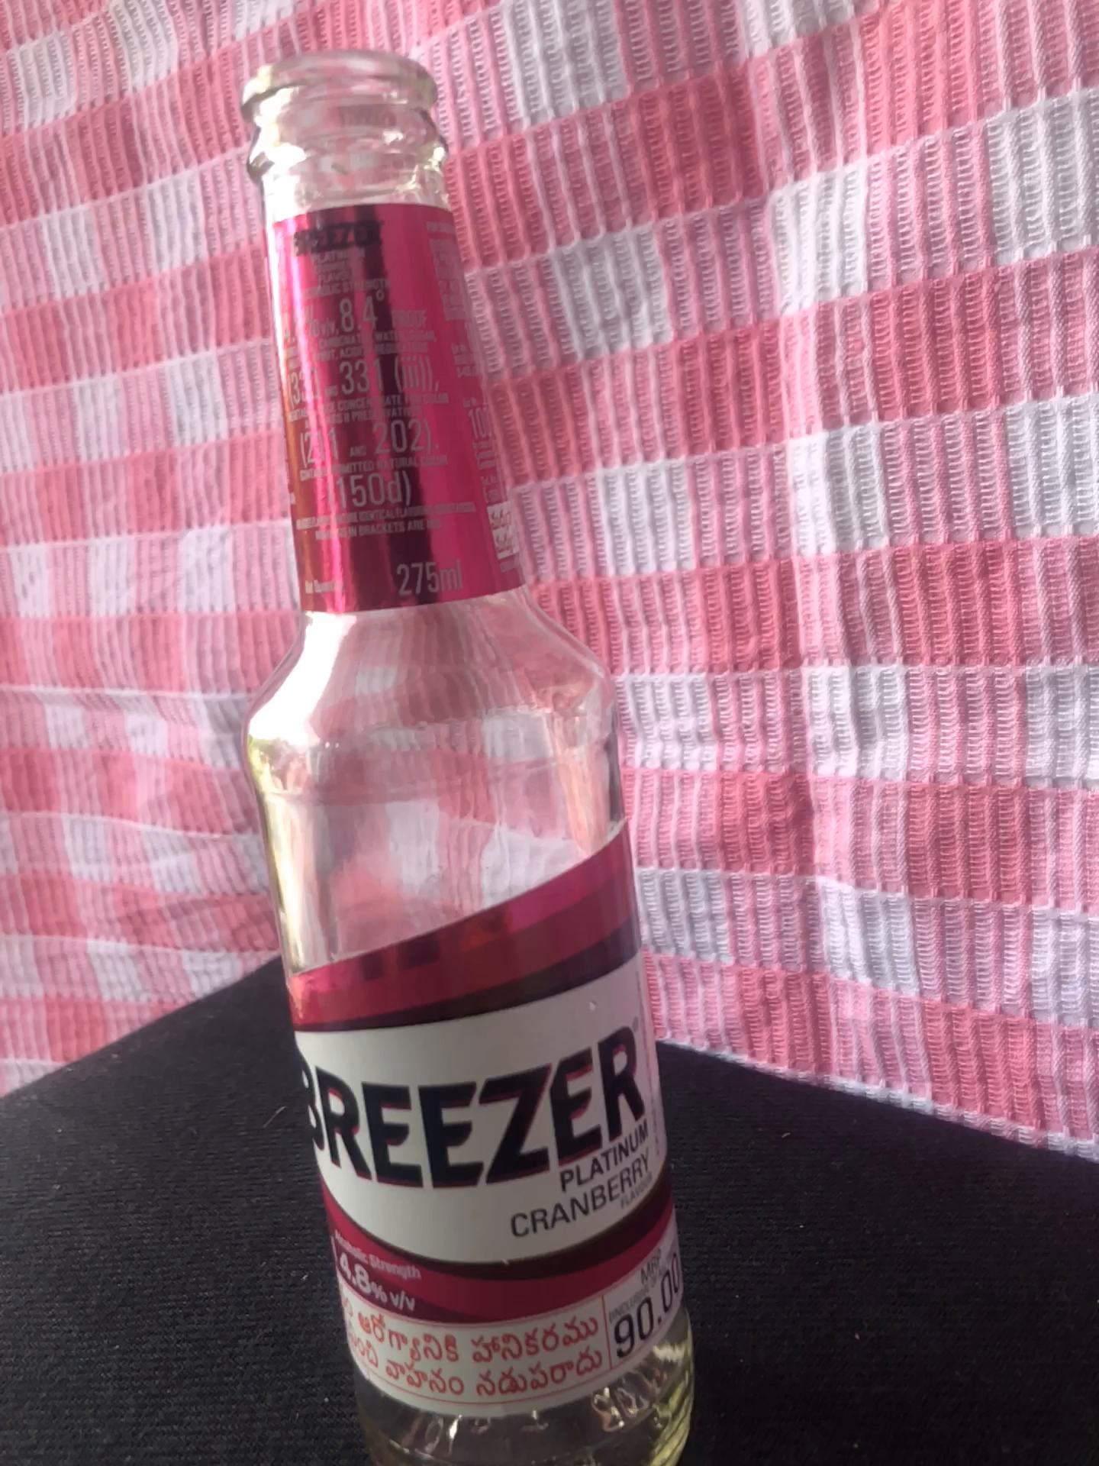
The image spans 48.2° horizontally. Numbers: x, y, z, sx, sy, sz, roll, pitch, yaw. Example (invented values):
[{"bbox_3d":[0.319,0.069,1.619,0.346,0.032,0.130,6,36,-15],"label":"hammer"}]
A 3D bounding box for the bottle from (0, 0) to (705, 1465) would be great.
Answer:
[{"bbox_3d":[-0.021,0.020,0.172,0.060,0.209,0.060,-7,15,2],"label":"bottle"}]
